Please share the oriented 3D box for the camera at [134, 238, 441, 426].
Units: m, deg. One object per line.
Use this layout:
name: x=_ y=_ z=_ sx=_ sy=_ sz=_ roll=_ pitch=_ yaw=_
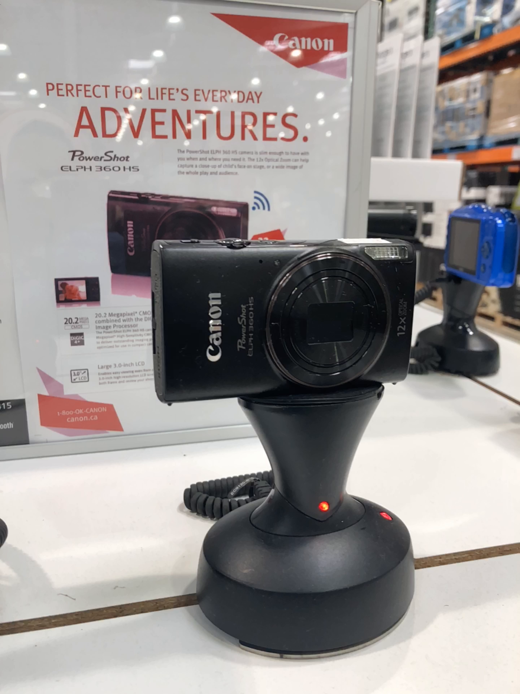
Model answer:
camera: x=0.009 y=-0.010 z=0.229 sx=0.110 sy=0.060 sz=0.040 roll=-4 pitch=15 yaw=-17
